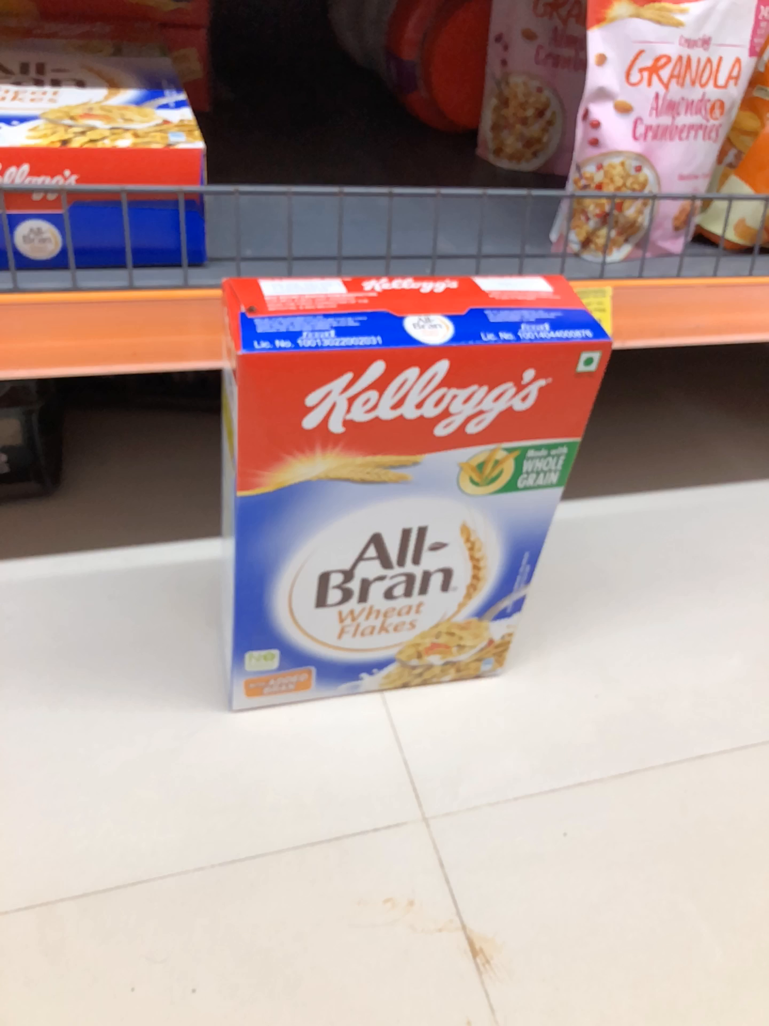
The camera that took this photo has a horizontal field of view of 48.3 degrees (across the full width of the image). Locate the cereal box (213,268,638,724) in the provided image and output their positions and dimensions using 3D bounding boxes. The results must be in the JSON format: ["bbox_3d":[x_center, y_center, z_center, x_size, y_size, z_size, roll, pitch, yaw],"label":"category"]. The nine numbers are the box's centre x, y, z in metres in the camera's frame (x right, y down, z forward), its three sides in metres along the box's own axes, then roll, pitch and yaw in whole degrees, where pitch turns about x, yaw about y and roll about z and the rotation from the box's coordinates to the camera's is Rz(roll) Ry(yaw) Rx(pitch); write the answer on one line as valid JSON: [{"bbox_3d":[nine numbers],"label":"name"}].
[{"bbox_3d":[0.003,-0.002,0.493,0.190,0.258,0.080,-5,43,-16],"label":"cereal box"}]
